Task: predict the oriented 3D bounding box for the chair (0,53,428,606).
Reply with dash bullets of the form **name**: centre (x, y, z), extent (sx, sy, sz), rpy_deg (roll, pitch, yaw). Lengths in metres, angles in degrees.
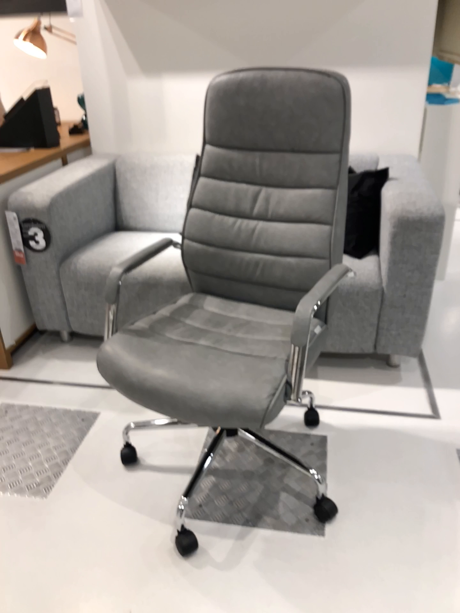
- **chair**: centre (-0.001, -0.041, 1.299), extent (0.721, 1.052, 0.724), rpy_deg (11, 30, 24)
